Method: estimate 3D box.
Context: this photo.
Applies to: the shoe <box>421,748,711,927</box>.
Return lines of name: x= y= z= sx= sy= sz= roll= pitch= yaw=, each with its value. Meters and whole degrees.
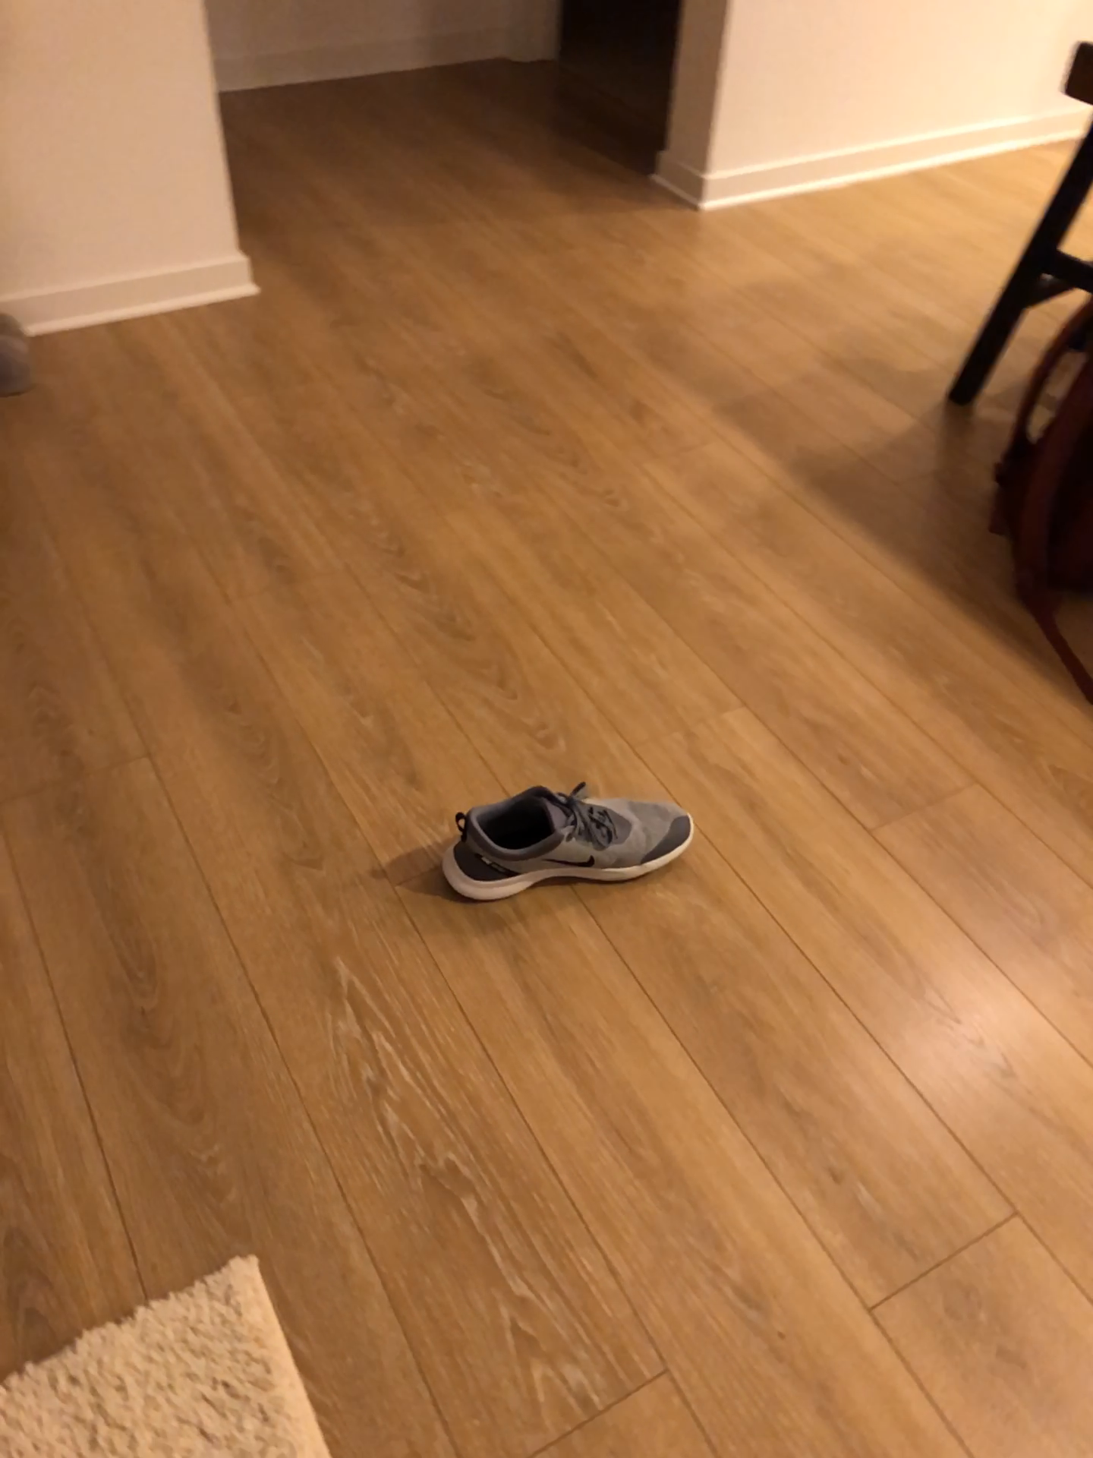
shoe: x=0.017 y=0.120 z=1.369 sx=0.300 sy=0.089 sz=0.141 roll=-7 pitch=45 yaw=-11
